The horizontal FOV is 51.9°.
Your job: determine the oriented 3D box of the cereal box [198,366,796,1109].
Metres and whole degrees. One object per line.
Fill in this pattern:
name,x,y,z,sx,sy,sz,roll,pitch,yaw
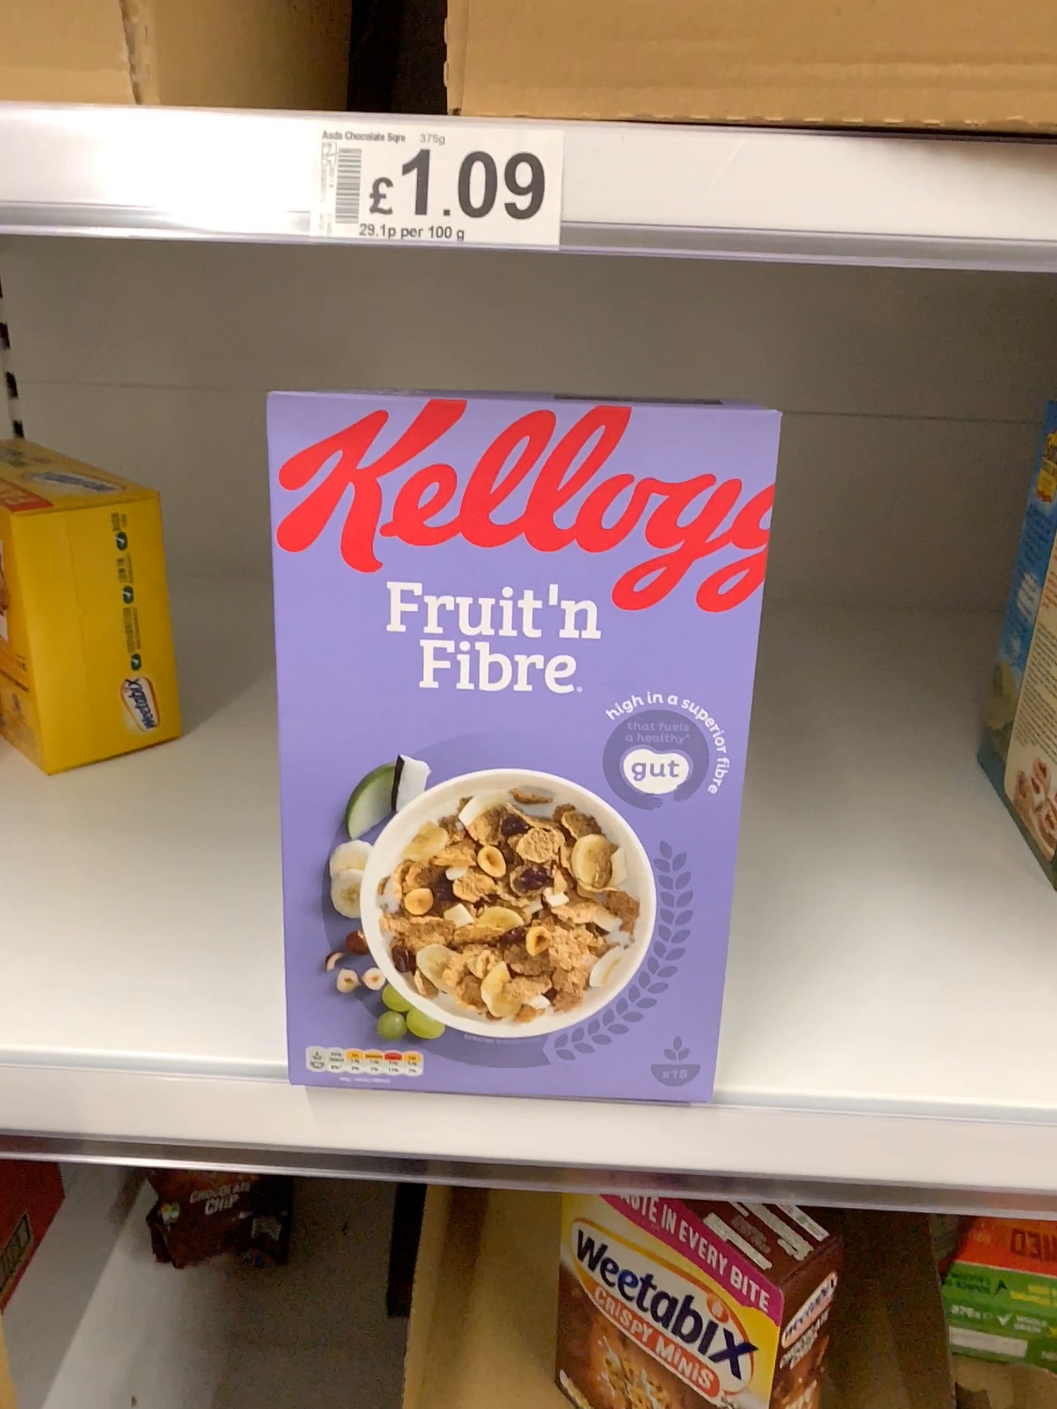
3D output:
cereal box,-0.016,0.016,0.465,0.210,0.298,0.081,2,18,0
